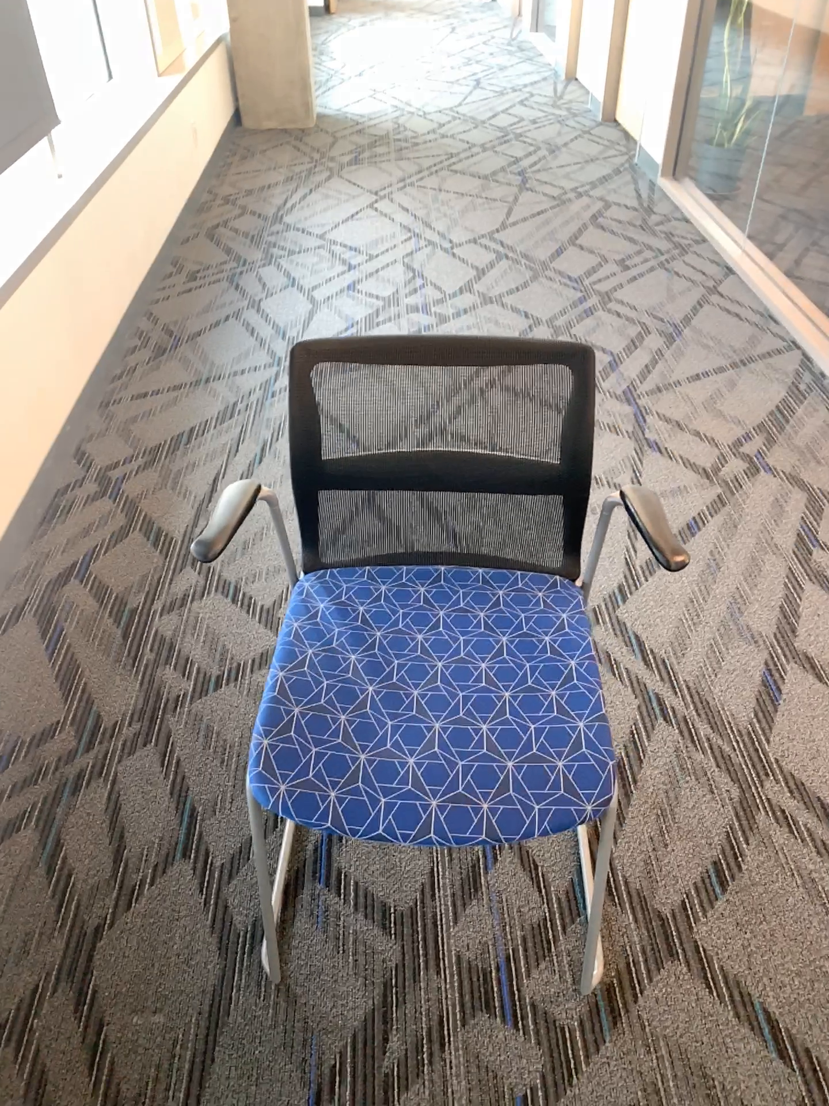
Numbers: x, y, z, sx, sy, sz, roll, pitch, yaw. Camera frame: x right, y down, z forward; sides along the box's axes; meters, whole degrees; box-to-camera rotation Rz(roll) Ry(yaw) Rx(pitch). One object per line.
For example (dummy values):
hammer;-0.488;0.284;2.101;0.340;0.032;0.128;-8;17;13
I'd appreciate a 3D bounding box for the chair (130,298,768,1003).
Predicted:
chair;0.042;0.134;1.169;0.530;0.763;0.586;1;39;2
